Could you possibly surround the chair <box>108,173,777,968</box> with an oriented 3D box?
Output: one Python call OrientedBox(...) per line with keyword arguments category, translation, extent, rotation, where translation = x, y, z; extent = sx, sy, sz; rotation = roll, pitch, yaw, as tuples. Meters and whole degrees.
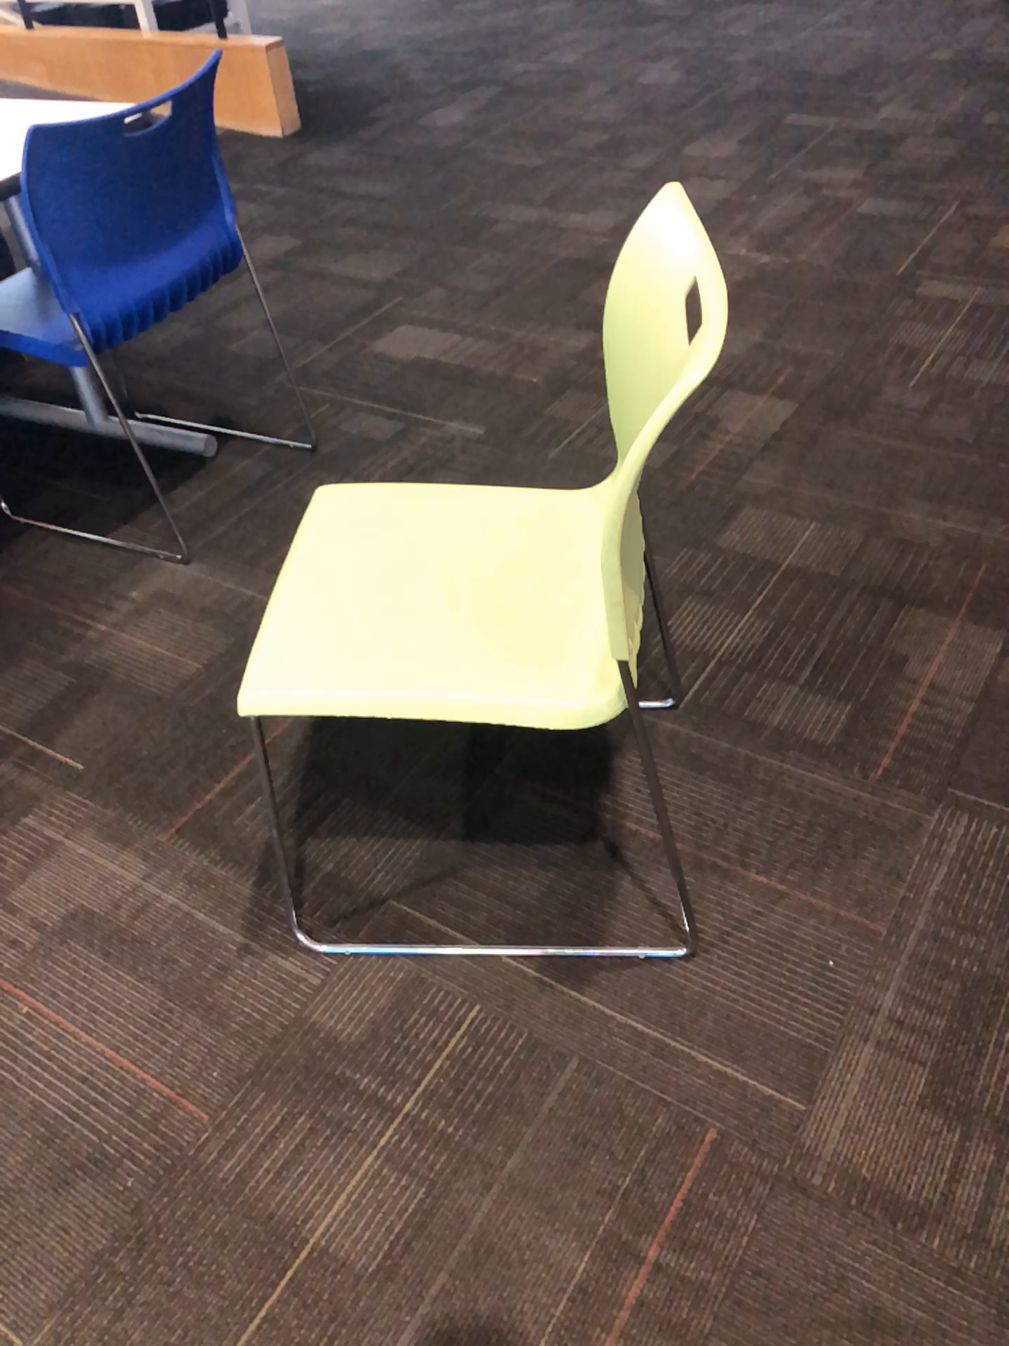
OrientedBox(category="chair", translation=(-0.008, -0.102, 1.335), extent=(0.540, 0.756, 0.543), rotation=(-1, 40, 6))
